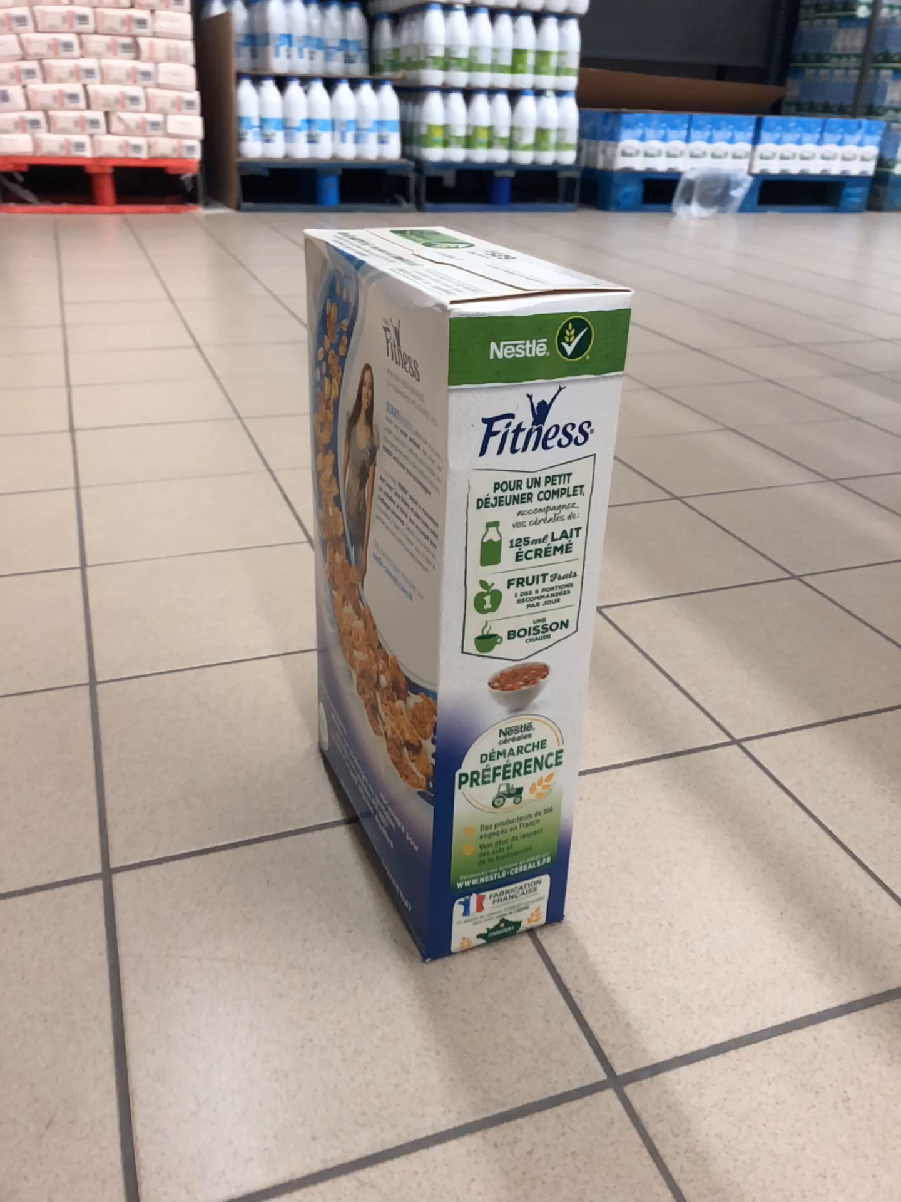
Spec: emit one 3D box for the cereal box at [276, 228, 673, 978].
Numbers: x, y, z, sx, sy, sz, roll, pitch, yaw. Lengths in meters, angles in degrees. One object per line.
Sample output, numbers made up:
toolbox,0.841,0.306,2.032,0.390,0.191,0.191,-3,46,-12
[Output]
cereal box,-0.010,-0.014,0.489,0.090,0.298,0.211,-9,28,-23
